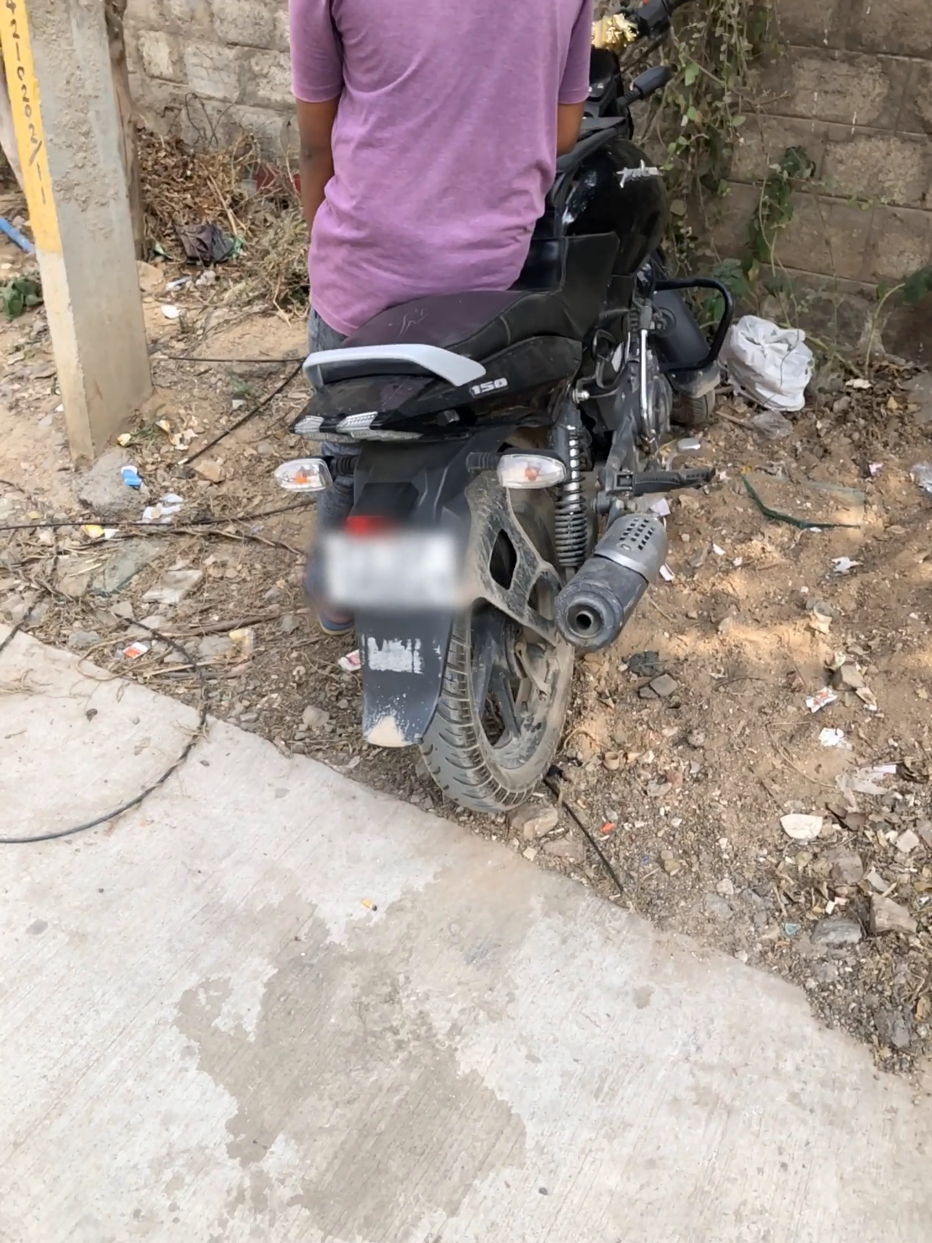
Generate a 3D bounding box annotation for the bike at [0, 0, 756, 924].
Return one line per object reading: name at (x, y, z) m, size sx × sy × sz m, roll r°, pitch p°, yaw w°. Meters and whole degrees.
bike at (0.028, -0.652, 2.057) m, size 0.812 × 1.215 × 1.825 m, roll 8°, pitch 39°, yaw 9°
